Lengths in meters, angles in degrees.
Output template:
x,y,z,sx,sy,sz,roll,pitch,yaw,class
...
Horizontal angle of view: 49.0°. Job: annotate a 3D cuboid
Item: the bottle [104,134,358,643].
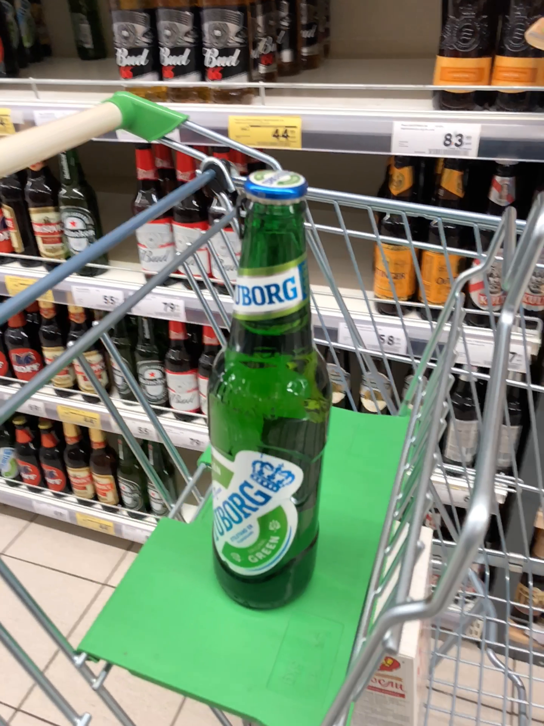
x,y,z,sx,sy,sz,roll,pitch,yaw,class
-0.015,0.025,0.320,0.080,0.258,0.070,28,43,36,bottle
